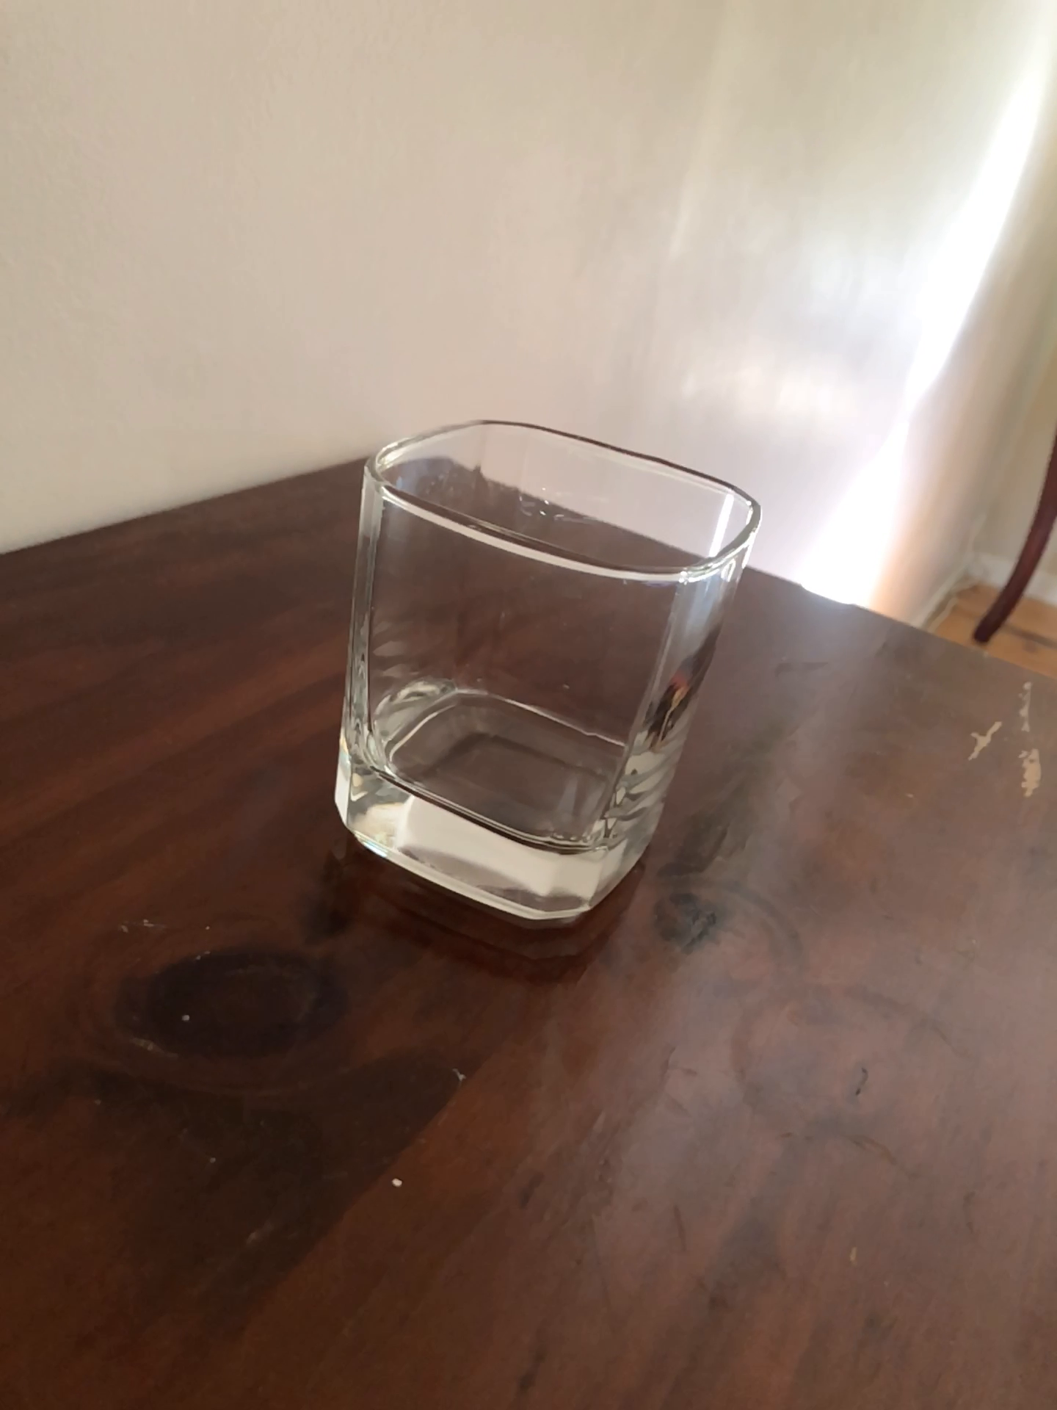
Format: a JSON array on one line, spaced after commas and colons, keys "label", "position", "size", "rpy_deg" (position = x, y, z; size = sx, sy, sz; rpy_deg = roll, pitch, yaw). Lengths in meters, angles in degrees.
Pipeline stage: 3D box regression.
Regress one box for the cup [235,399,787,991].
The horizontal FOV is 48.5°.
[{"label": "cup", "position": [-0.003, -0.009, 0.263], "size": [0.080, 0.085, 0.087], "rpy_deg": [10, 27, -5]}]
